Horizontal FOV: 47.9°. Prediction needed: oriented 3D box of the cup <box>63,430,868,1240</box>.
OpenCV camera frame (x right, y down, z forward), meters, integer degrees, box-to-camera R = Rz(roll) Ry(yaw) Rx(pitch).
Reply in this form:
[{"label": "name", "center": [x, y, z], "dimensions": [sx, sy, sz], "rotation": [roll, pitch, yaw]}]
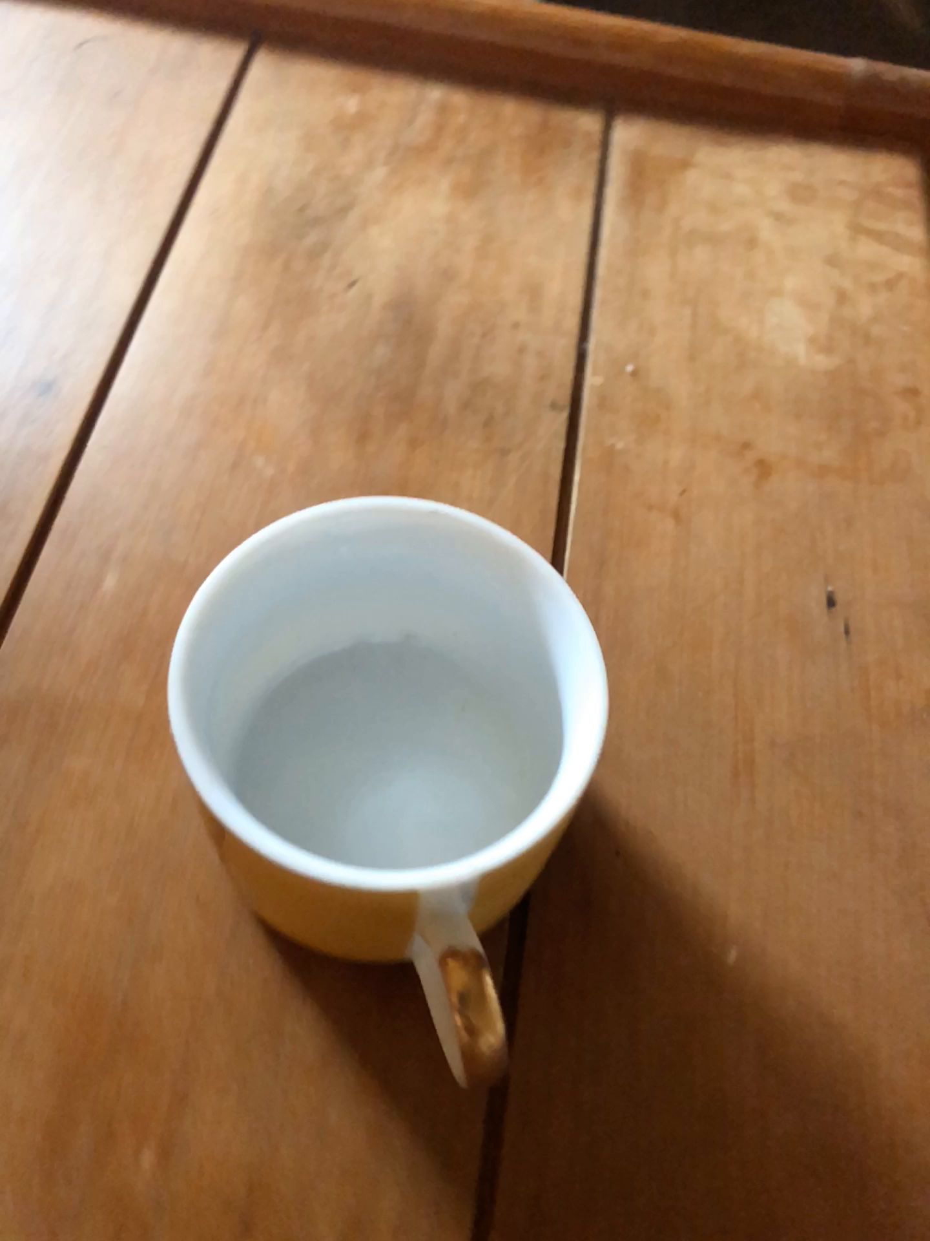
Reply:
[{"label": "cup", "center": [-0.007, 0.030, 0.146], "dimensions": [0.070, 0.050, 0.090], "rotation": [-14, 62, -14]}]
